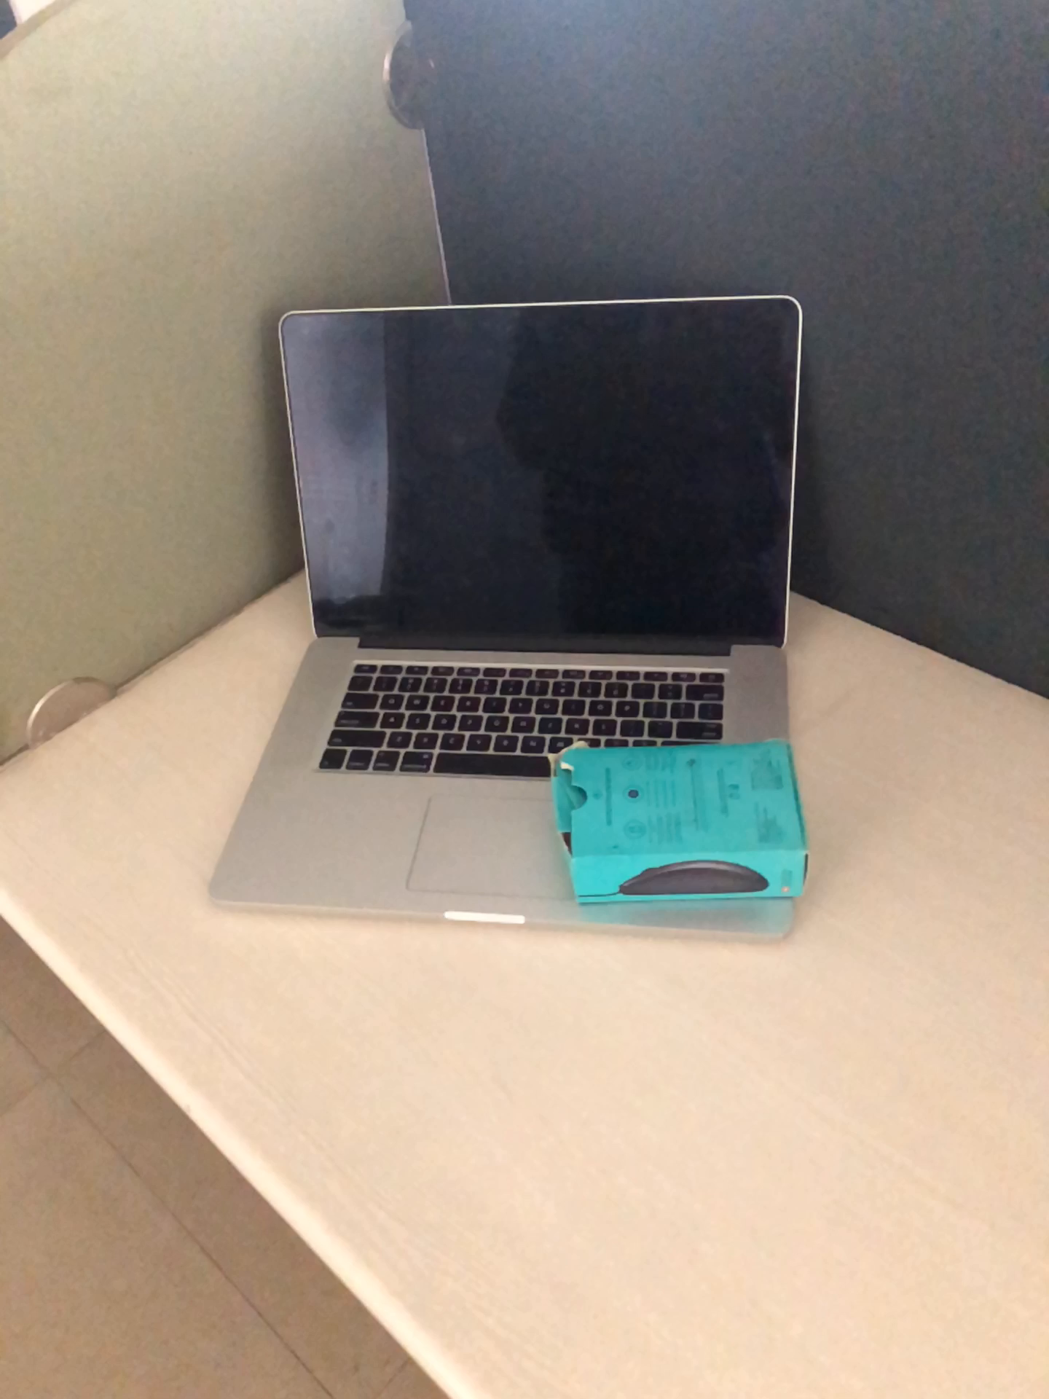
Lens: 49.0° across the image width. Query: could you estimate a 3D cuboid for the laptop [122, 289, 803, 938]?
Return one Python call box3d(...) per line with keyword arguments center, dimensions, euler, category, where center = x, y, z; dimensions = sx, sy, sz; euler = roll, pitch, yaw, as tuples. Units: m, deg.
box3d(center=(-0.001, -0.072, 0.717), dimensions=(0.328, 0.200, 0.340), euler=(2, 46, 12), category="laptop")
